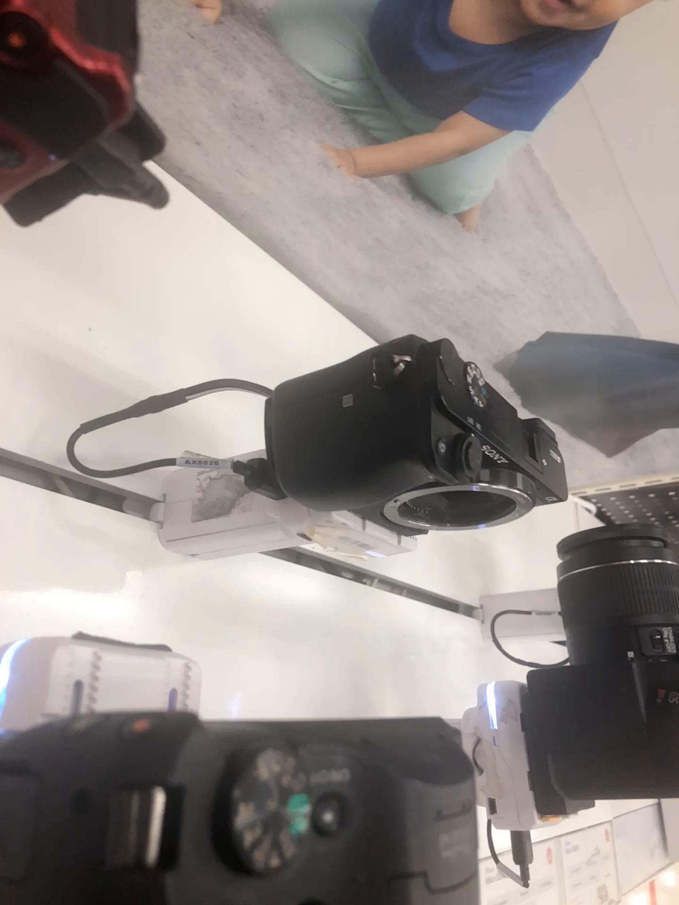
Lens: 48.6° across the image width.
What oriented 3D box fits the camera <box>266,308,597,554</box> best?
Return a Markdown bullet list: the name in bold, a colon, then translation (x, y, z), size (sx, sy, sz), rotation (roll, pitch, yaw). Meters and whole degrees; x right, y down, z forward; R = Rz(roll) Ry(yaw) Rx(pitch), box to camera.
- **camera**: translation (0.039, 0.002, 0.273), size (0.121, 0.070, 0.040), rotation (26, 54, -53)
